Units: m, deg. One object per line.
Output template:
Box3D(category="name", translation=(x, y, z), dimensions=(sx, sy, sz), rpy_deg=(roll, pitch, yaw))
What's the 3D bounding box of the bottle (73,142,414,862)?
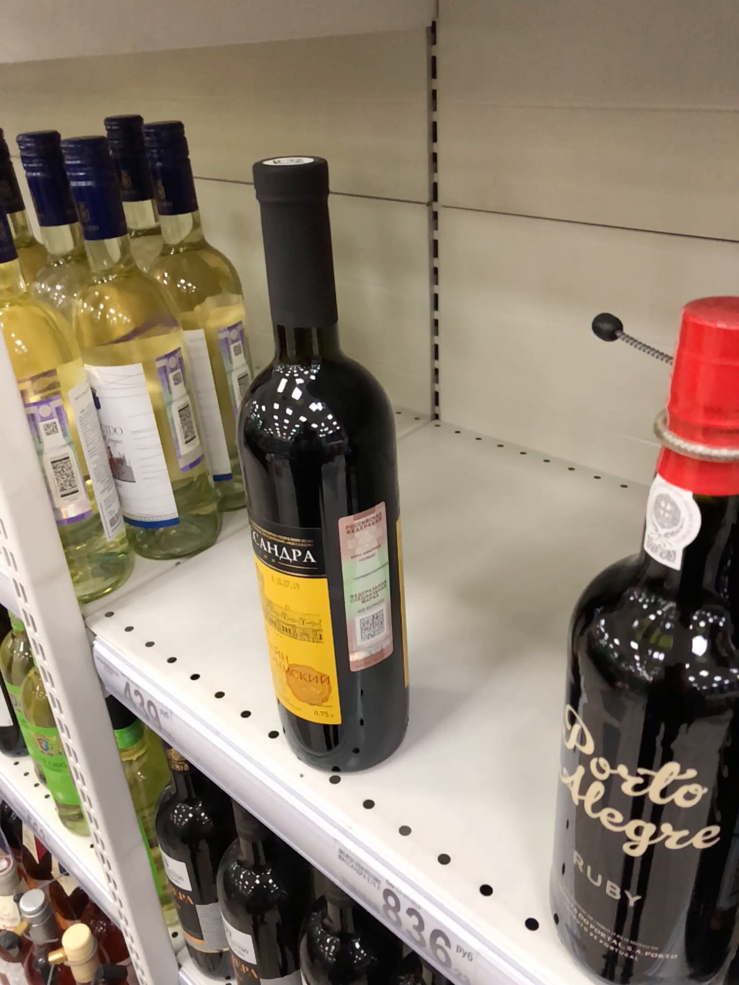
Box3D(category="bottle", translation=(-0.051, 0.015, 0.422), dimensions=(0.100, 0.348, 0.100), rpy_deg=(-2, 29, 1))
